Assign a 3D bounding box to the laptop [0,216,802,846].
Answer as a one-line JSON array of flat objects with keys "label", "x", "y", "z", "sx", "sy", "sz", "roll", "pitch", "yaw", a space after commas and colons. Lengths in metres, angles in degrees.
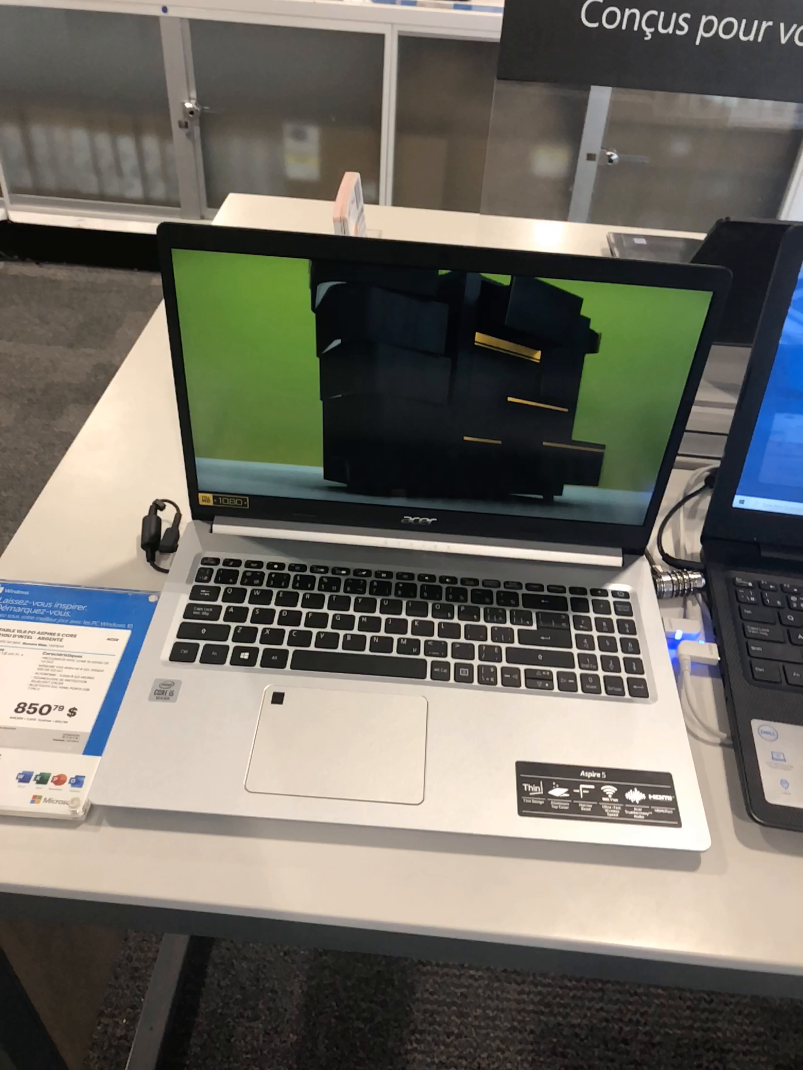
[{"label": "laptop", "x": 0.009, "y": -0.013, "z": 0.533, "sx": 0.349, "sy": 0.229, "sz": 0.268, "roll": 4, "pitch": 42, "yaw": 1}]
